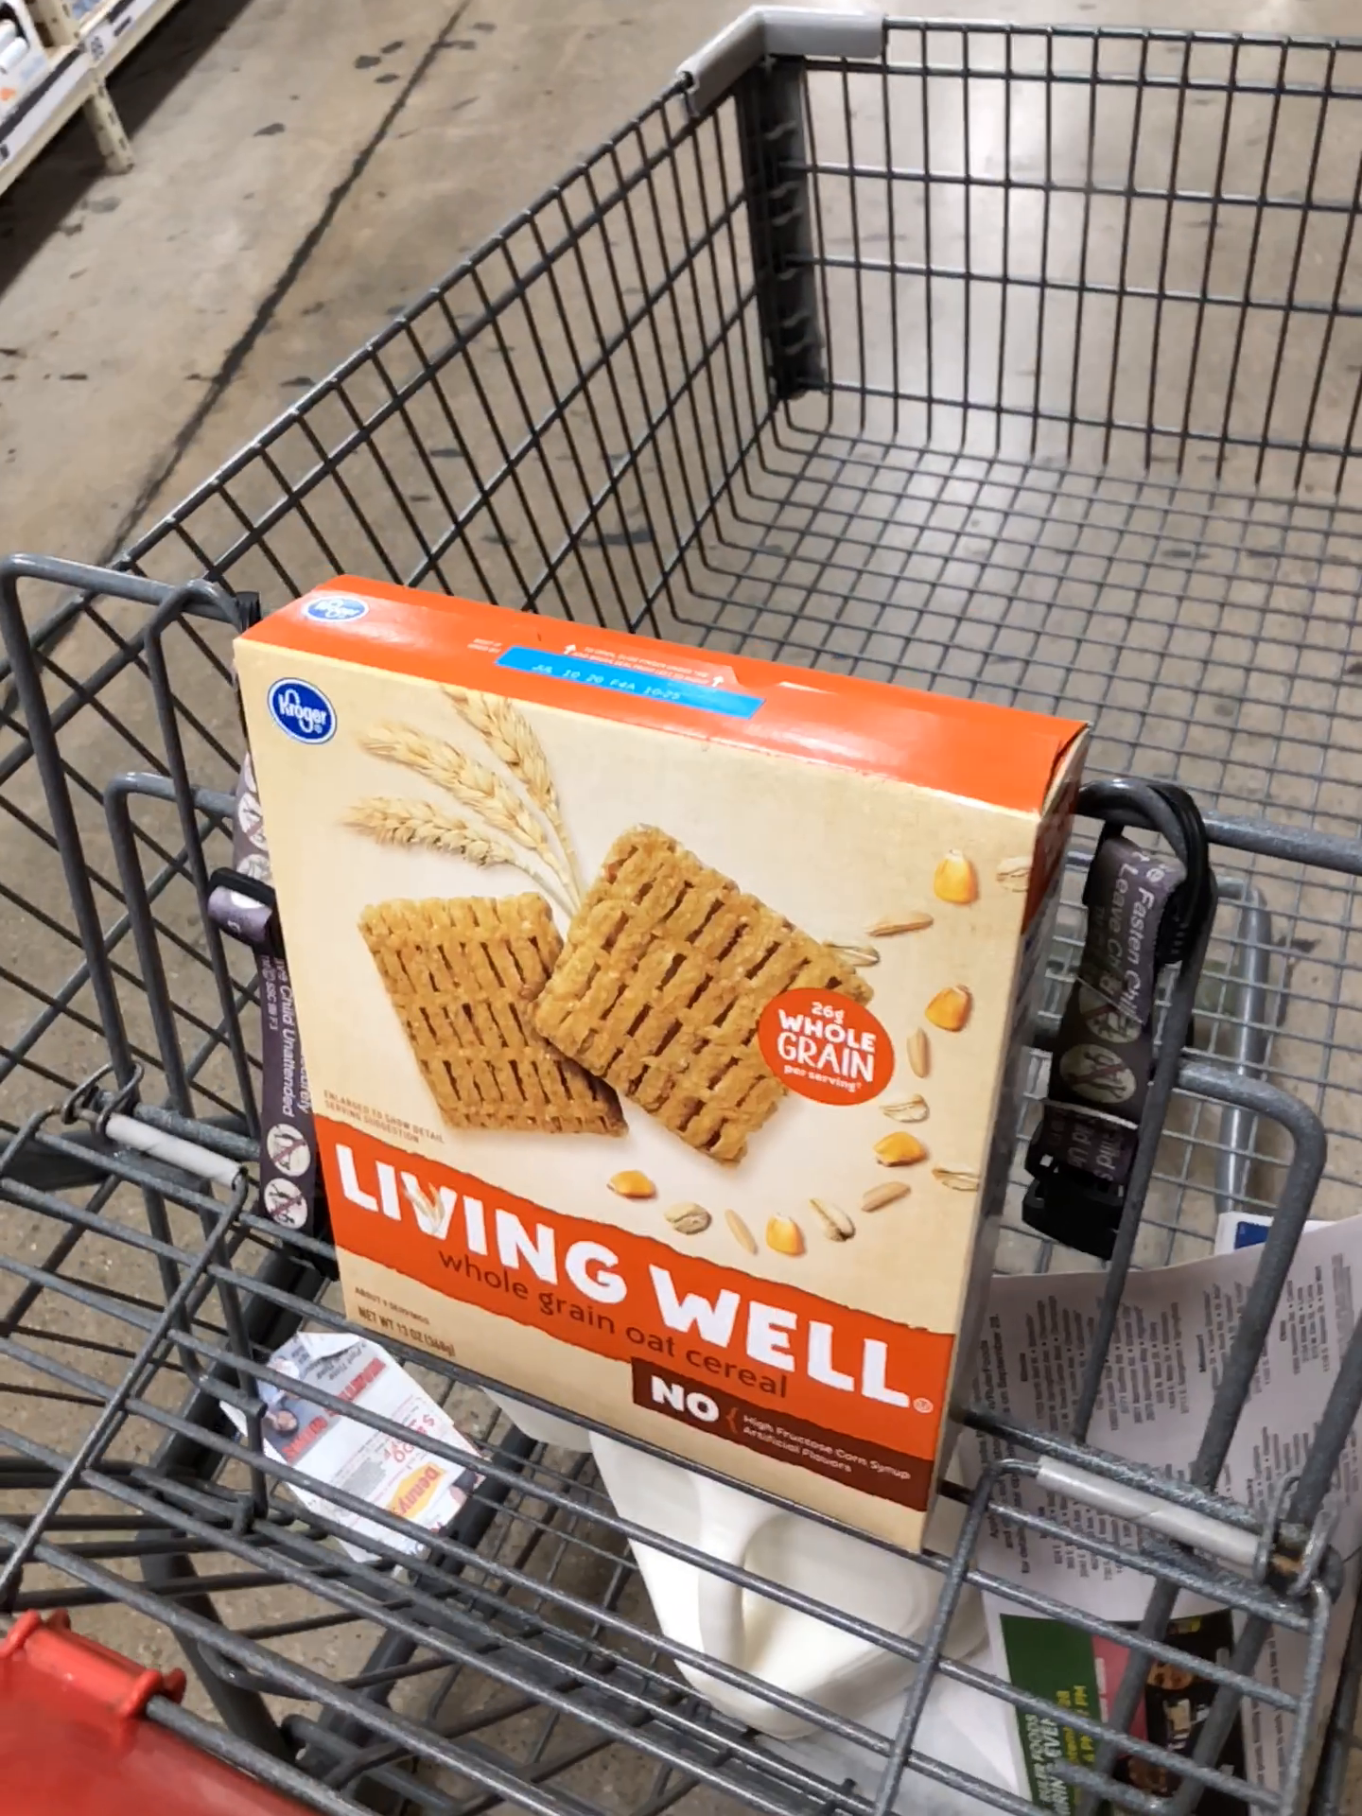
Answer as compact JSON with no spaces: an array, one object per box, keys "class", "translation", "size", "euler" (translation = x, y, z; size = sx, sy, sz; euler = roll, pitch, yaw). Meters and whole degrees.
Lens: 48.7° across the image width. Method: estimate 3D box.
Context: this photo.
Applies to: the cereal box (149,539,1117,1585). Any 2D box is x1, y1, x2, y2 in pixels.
[{"class":"cereal box","translation":[-0.015,0.044,0.401],"size":[0.210,0.240,0.060],"euler":[15,38,21]}]
